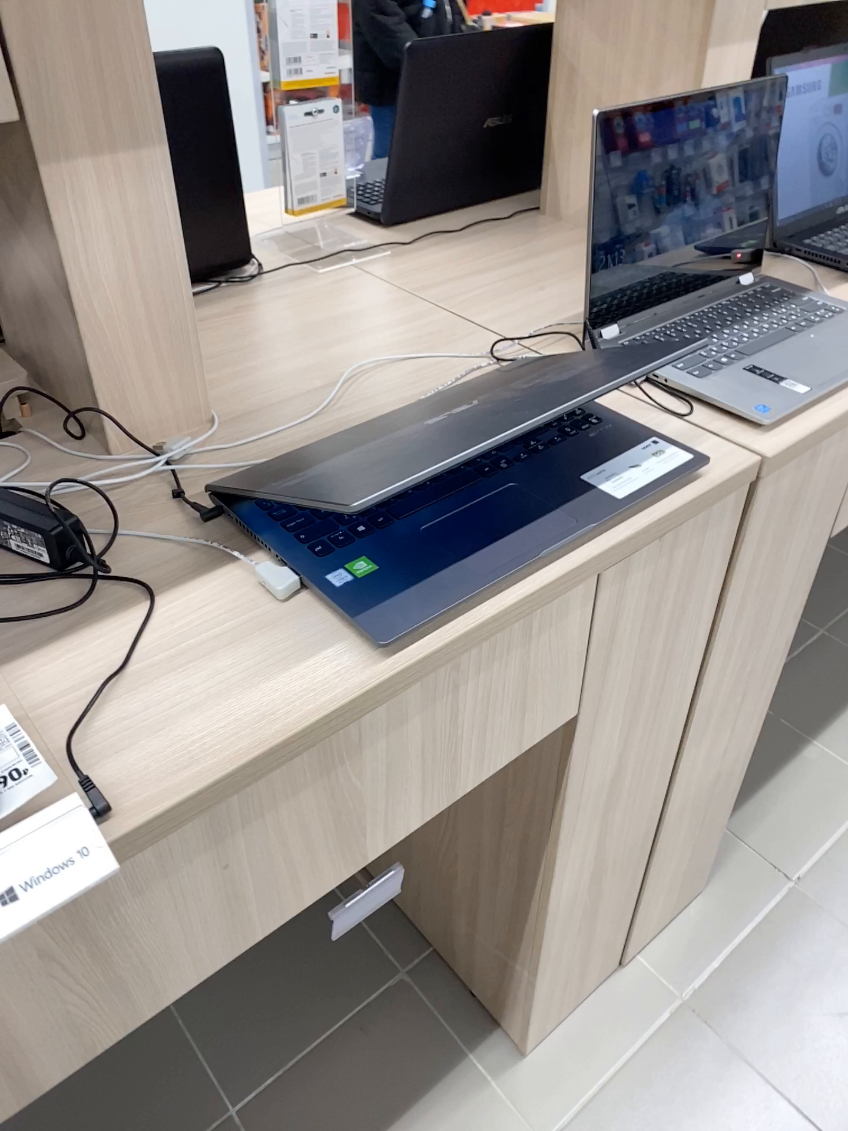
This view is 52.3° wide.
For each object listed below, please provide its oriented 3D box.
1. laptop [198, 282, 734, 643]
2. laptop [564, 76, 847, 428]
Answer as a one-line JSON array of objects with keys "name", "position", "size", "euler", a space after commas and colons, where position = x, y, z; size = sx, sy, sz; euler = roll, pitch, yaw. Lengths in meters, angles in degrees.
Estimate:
[{"name": "laptop", "position": [0.038, -0.111, 0.697], "size": [0.355, 0.097, 0.230], "euler": [-26, 45, -31]}, {"name": "laptop", "position": [0.371, -0.349, 0.904], "size": [0.352, 0.222, 0.259], "euler": [-28, 46, -32]}]
